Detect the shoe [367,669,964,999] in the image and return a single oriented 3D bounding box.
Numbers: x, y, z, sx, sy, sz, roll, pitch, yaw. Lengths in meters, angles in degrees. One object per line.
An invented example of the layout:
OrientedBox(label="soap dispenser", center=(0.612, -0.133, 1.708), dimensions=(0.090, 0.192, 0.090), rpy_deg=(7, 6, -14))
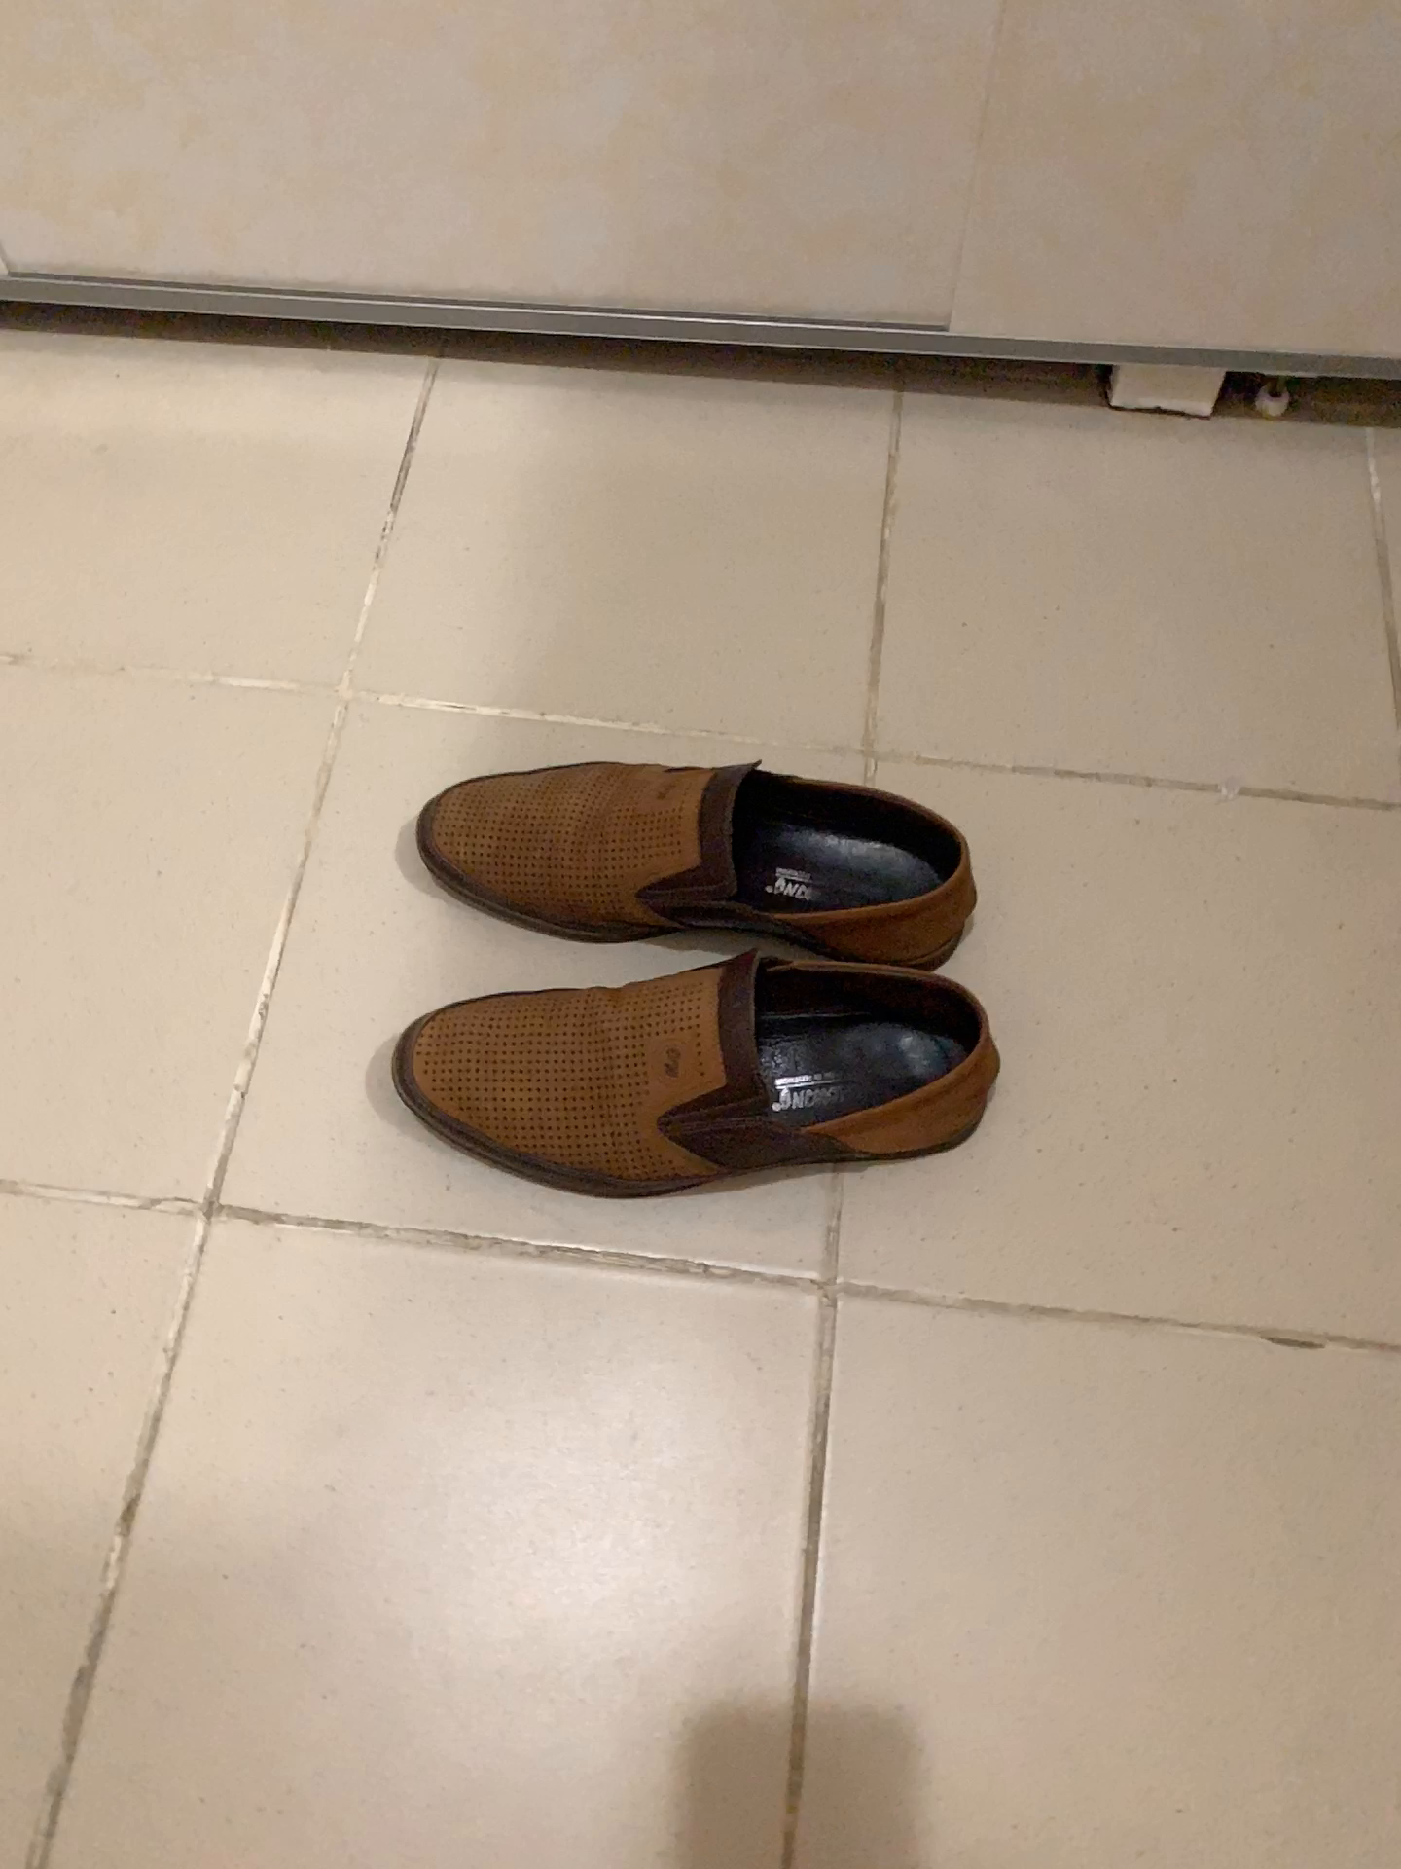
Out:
OrientedBox(label="shoe", center=(-0.013, -0.049, 0.711), dimensions=(0.270, 0.080, 0.110), rpy_deg=(6, 65, 3))

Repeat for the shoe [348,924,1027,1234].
OrientedBox(label="shoe", center=(-0.004, 0.070, 0.672), dimensions=(0.290, 0.090, 0.110), rpy_deg=(2, 65, 1))
